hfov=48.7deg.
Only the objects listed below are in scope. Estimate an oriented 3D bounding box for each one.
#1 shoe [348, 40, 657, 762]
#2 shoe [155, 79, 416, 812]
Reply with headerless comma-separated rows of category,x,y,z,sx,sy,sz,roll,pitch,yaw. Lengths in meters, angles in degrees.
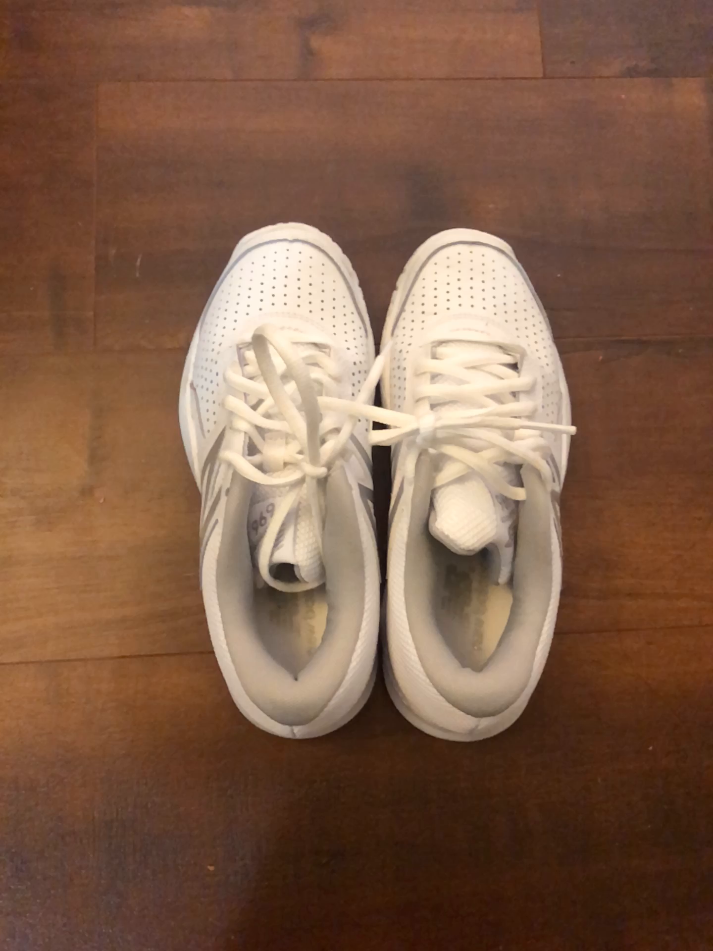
shoe,0.060,-0.029,0.415,0.120,0.170,0.310,1,80,0
shoe,-0.034,-0.015,0.393,0.100,0.130,0.310,-1,80,-3
